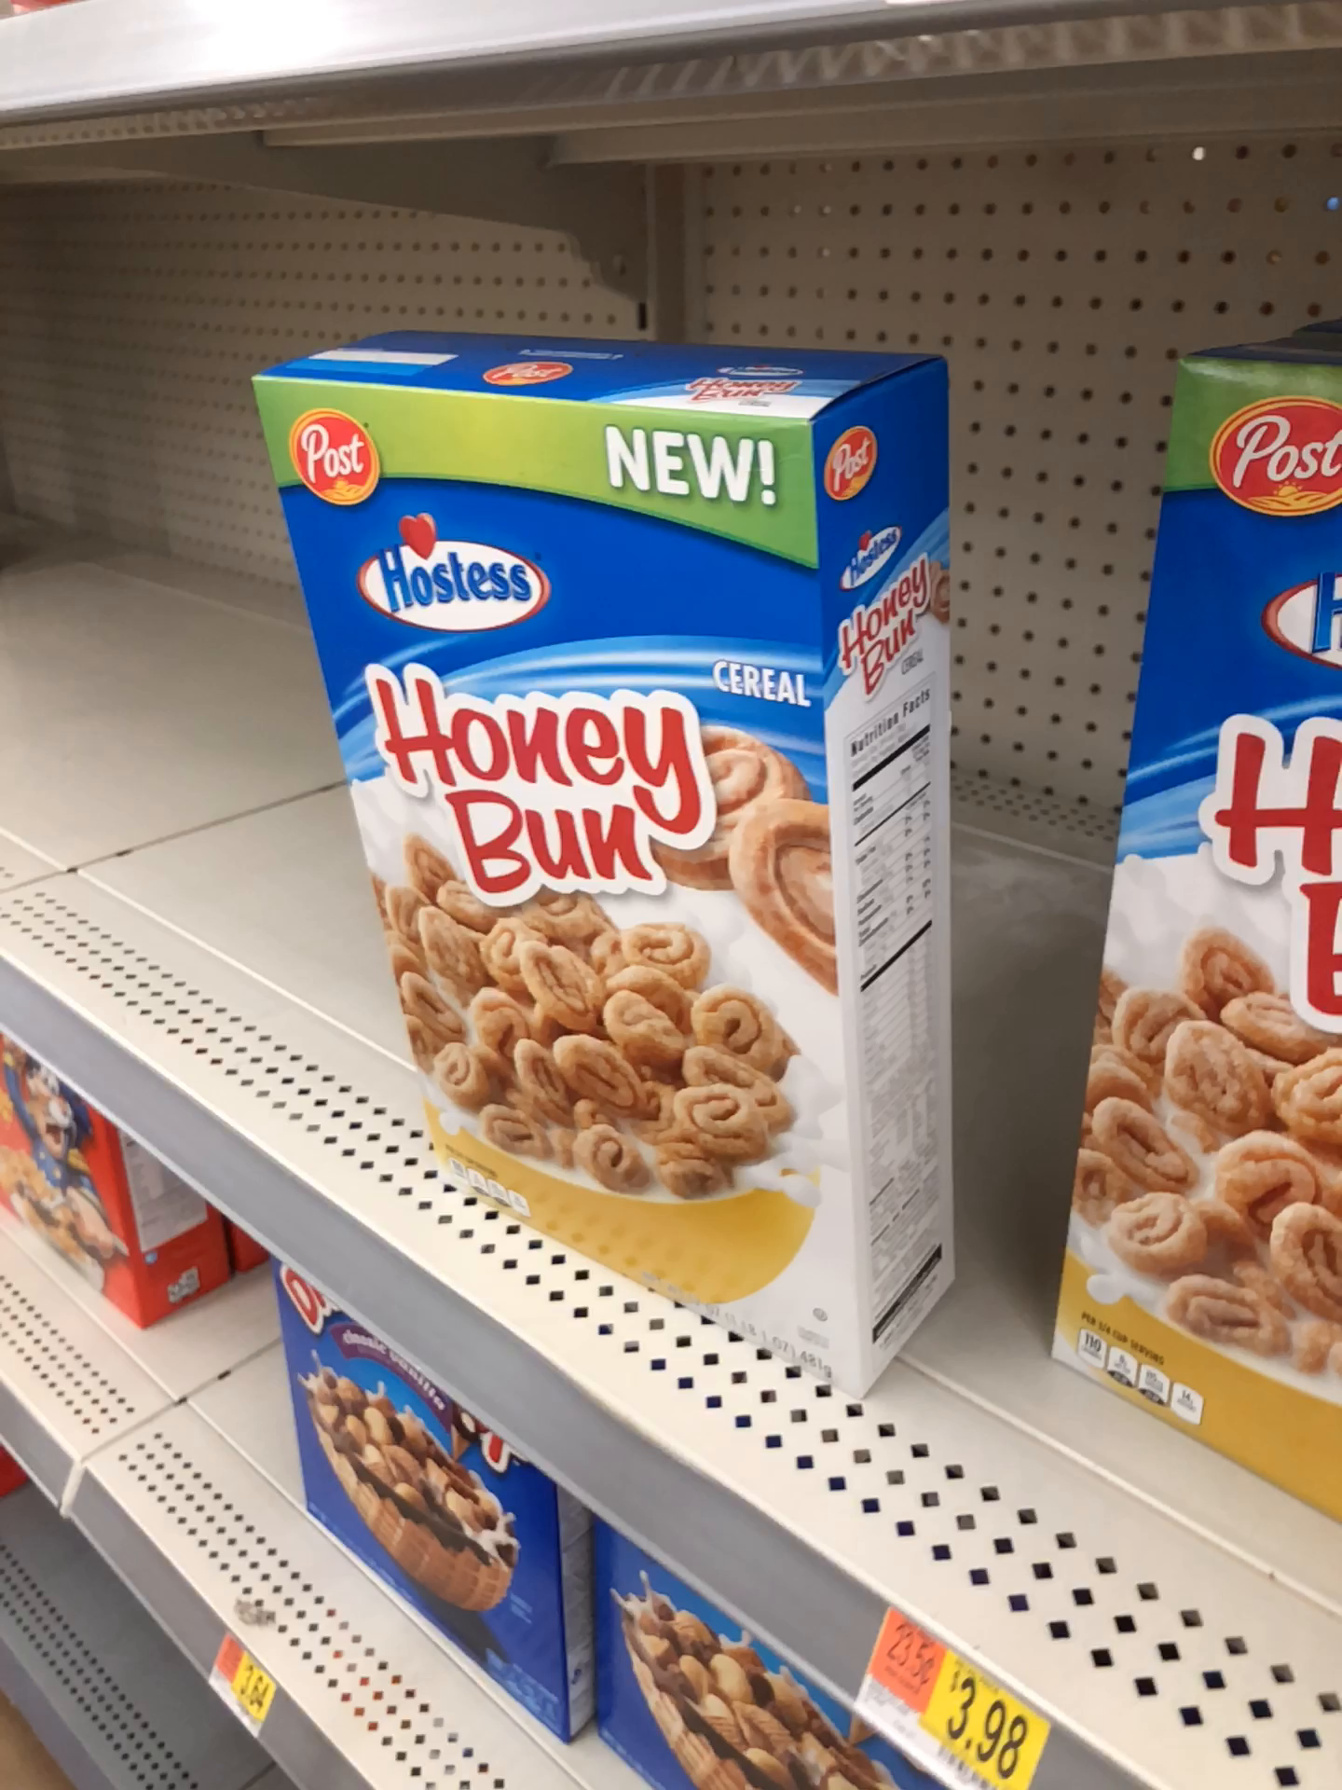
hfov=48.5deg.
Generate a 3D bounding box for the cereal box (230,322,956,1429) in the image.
[{"bbox_3d":[-0.015,-0.007,0.463,0.200,0.309,0.060,18,38,36],"label":"cereal box"}]
